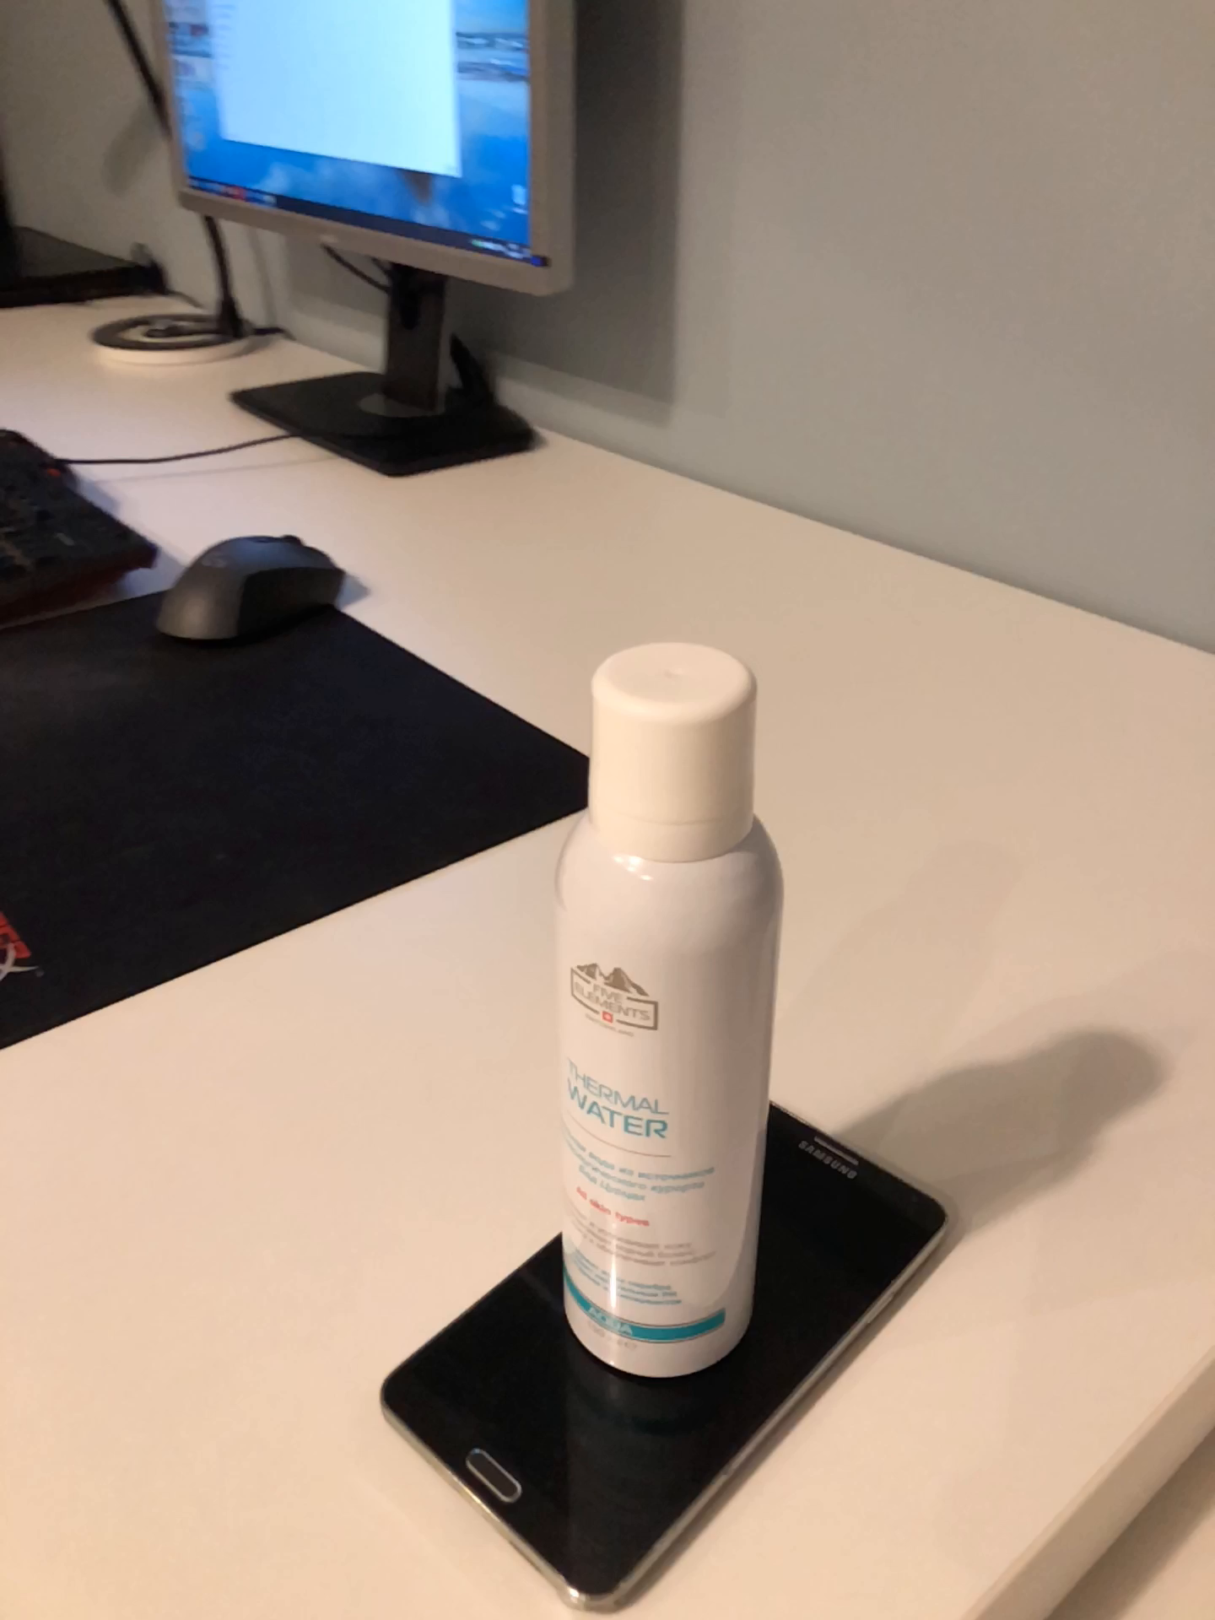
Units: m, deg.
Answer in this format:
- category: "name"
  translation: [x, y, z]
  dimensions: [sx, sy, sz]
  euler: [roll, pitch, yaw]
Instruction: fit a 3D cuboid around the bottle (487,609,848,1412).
- category: "bottle"
  translation: [0.014, 0.050, 0.312]
  dimensions: [0.053, 0.175, 0.059]
  euler: [13, 33, 22]
